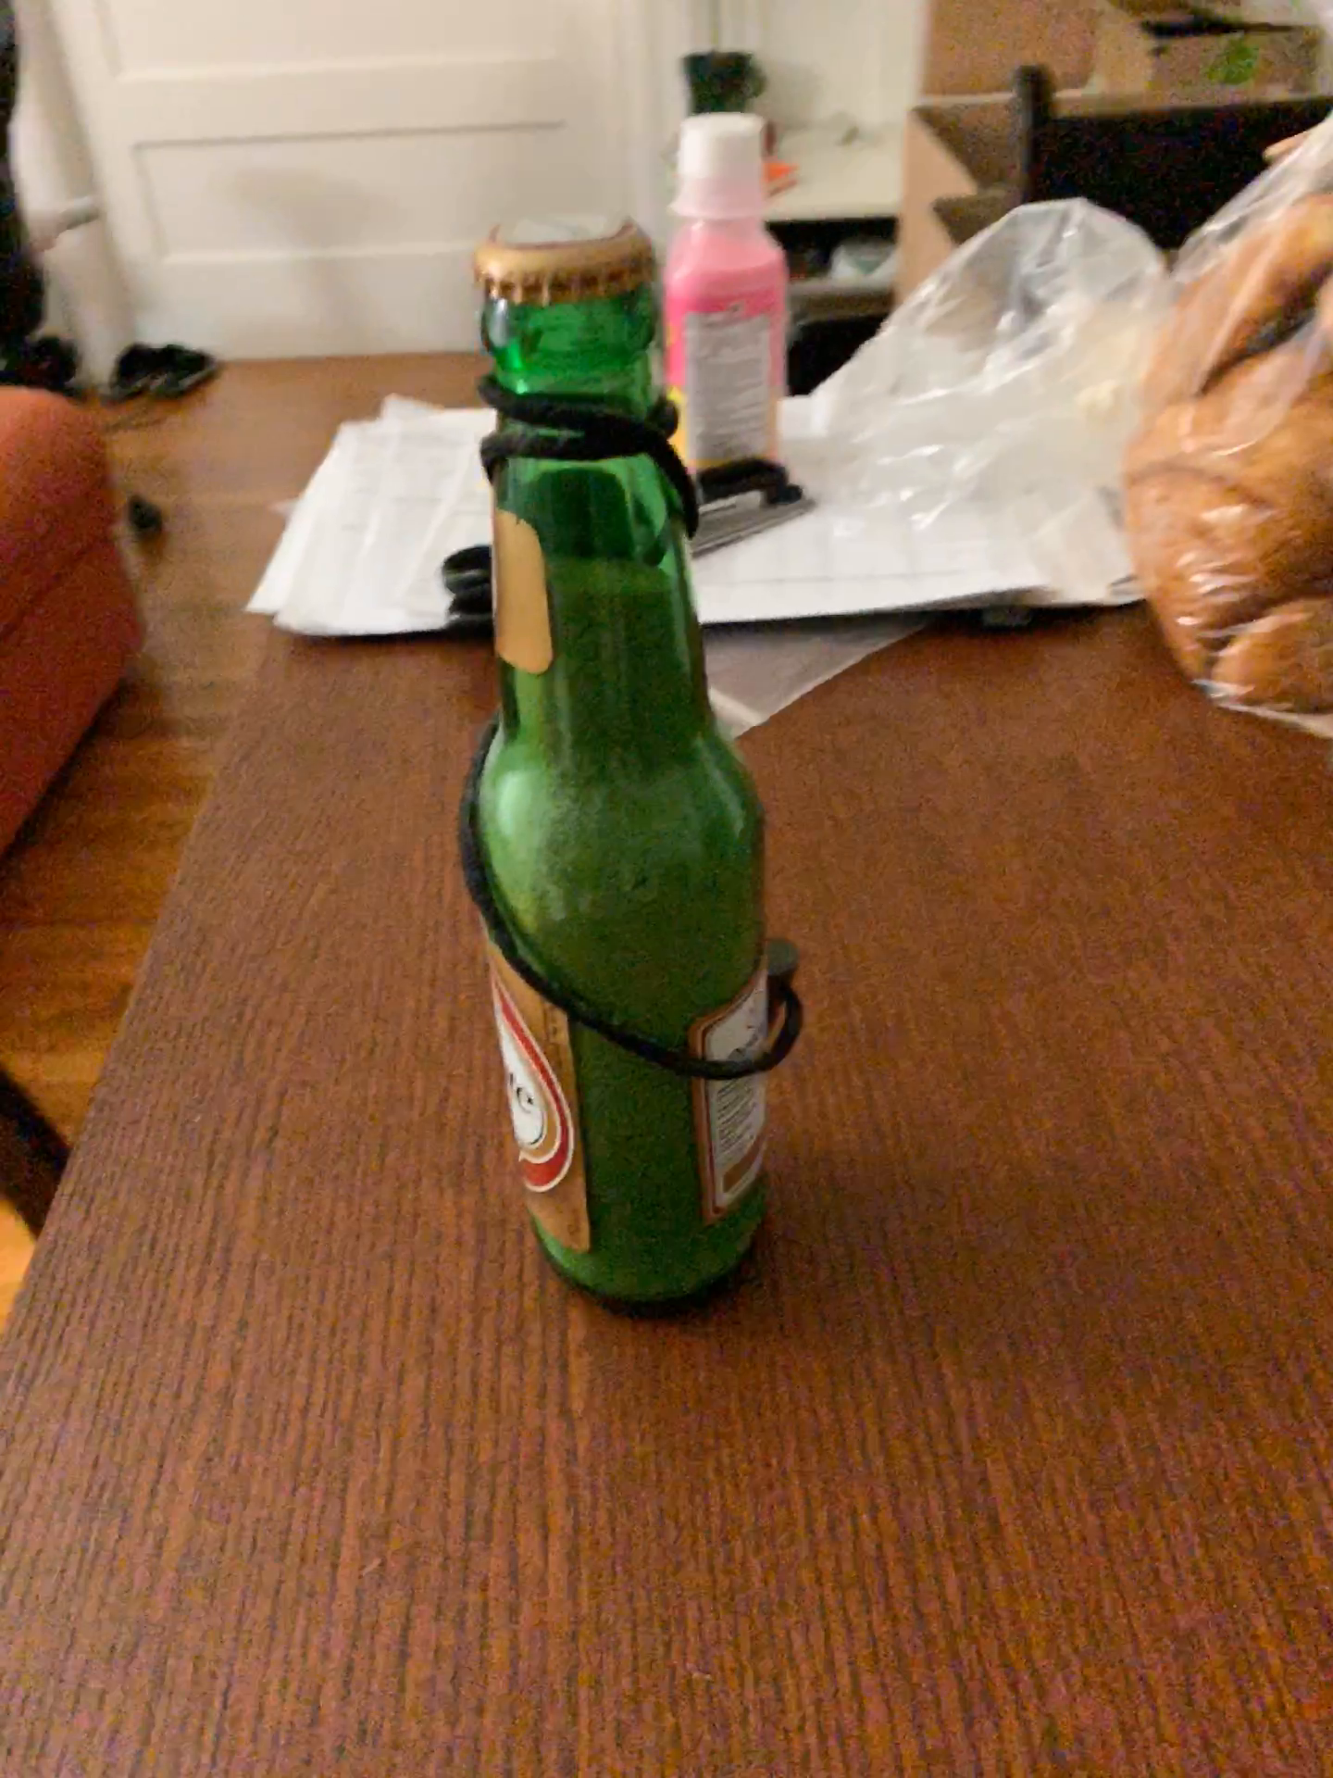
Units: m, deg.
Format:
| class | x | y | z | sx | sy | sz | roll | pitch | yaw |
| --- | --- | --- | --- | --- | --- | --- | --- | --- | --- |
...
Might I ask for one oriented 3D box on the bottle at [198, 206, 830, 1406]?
| class | x | y | z | sx | sy | sz | roll | pitch | yaw |
| --- | --- | --- | --- | --- | --- | --- | --- | --- | --- |
| bottle | -0.015 | -0.002 | 0.290 | 0.070 | 0.239 | 0.080 | 13 | 41 | 19 |
